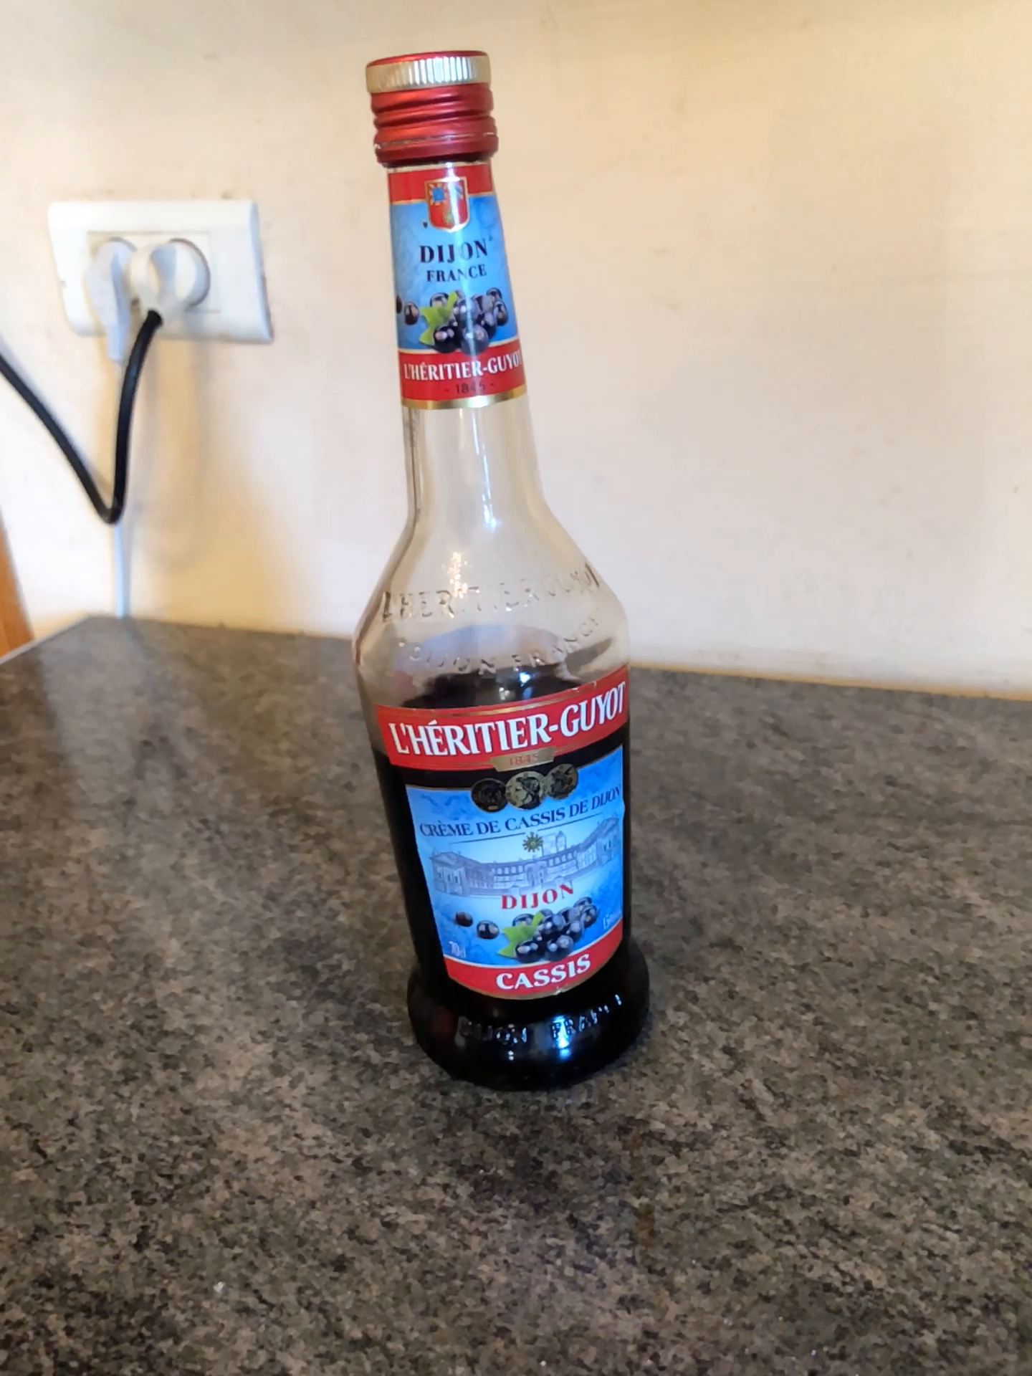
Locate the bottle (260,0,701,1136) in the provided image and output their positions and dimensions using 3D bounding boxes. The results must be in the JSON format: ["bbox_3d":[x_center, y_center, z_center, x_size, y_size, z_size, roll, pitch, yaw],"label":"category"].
[{"bbox_3d":[-0.006,-0.023,0.341,0.090,0.298,0.090,-4,23,2],"label":"bottle"}]
